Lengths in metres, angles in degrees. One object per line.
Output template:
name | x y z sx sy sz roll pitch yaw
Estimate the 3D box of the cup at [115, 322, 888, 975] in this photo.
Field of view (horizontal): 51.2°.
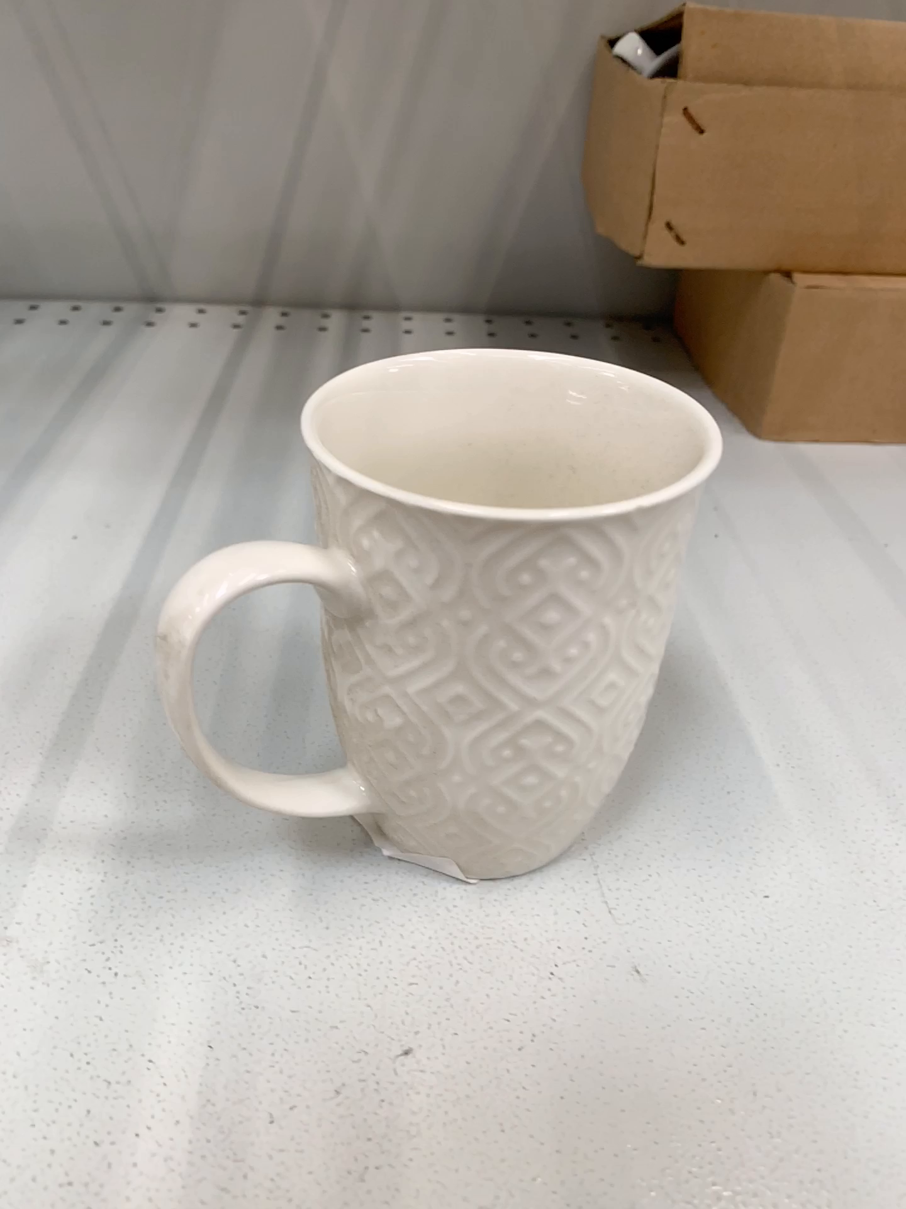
cup | 0.000 0.001 0.215 0.131 0.098 0.092 -7 34 -15
